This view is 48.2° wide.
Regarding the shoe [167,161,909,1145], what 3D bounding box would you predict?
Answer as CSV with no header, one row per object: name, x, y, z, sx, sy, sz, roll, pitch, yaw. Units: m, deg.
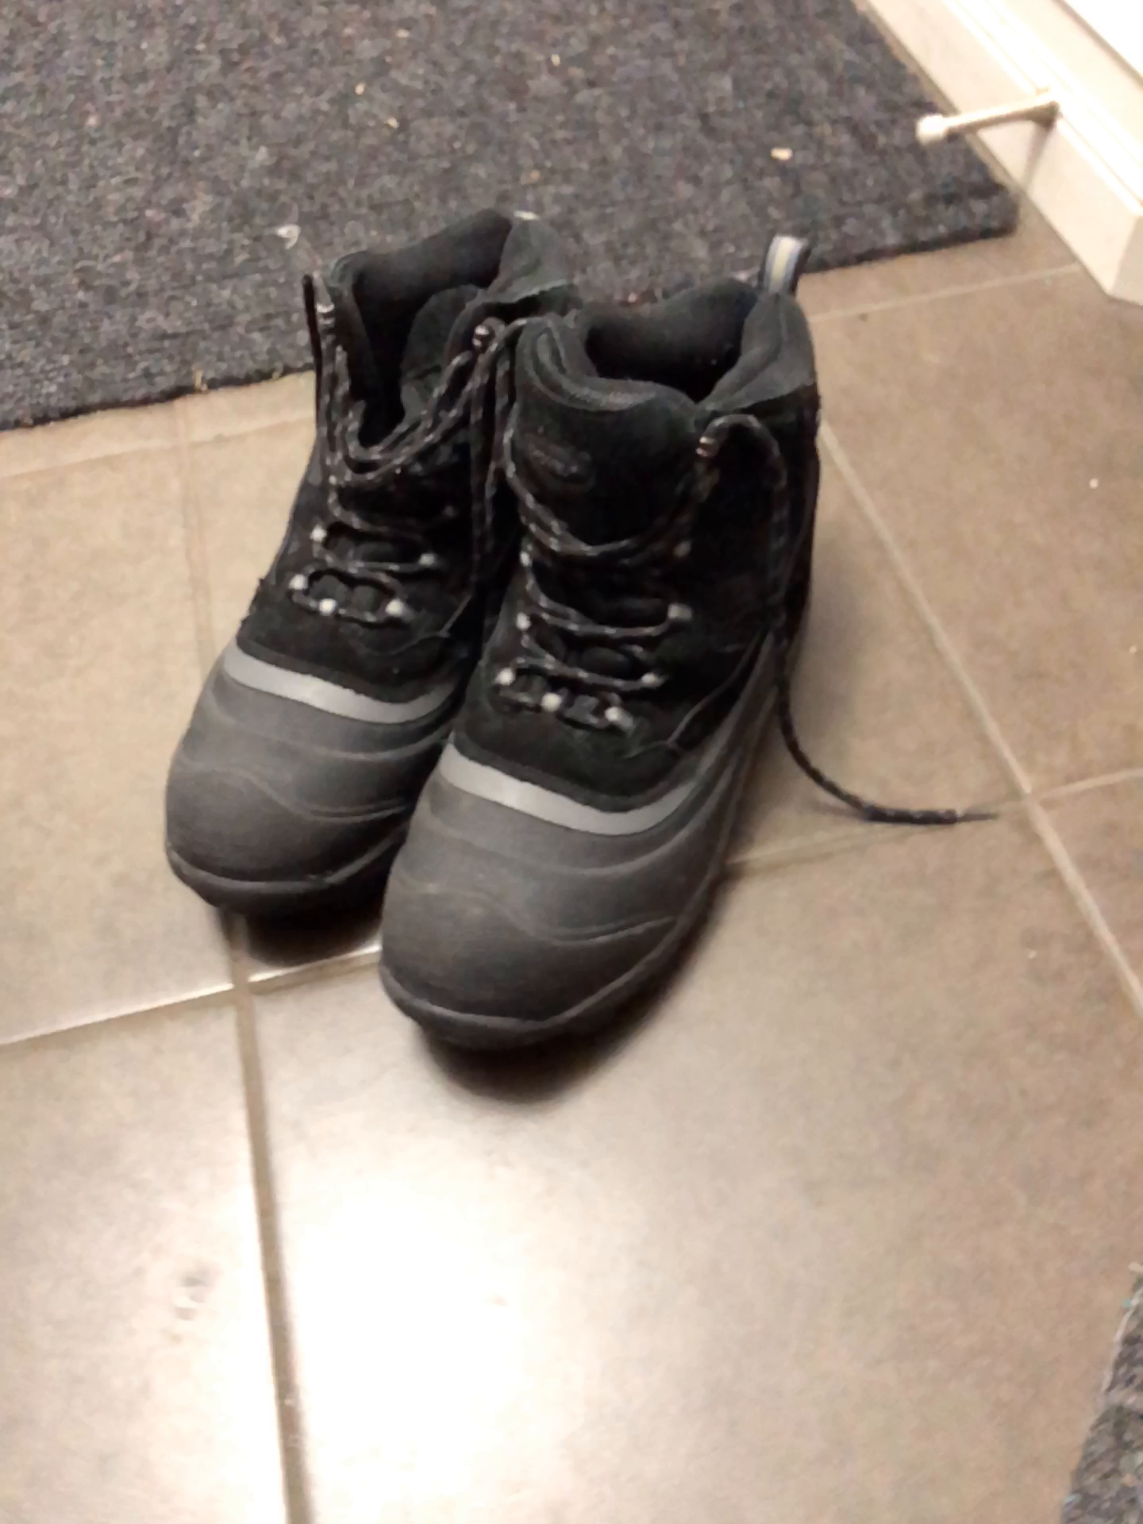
shoe,0.011,-0.045,0.480,0.120,0.199,0.291,19,58,16

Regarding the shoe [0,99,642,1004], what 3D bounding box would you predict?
shoe,-0.085,-0.089,0.520,0.120,0.199,0.291,20,58,17
